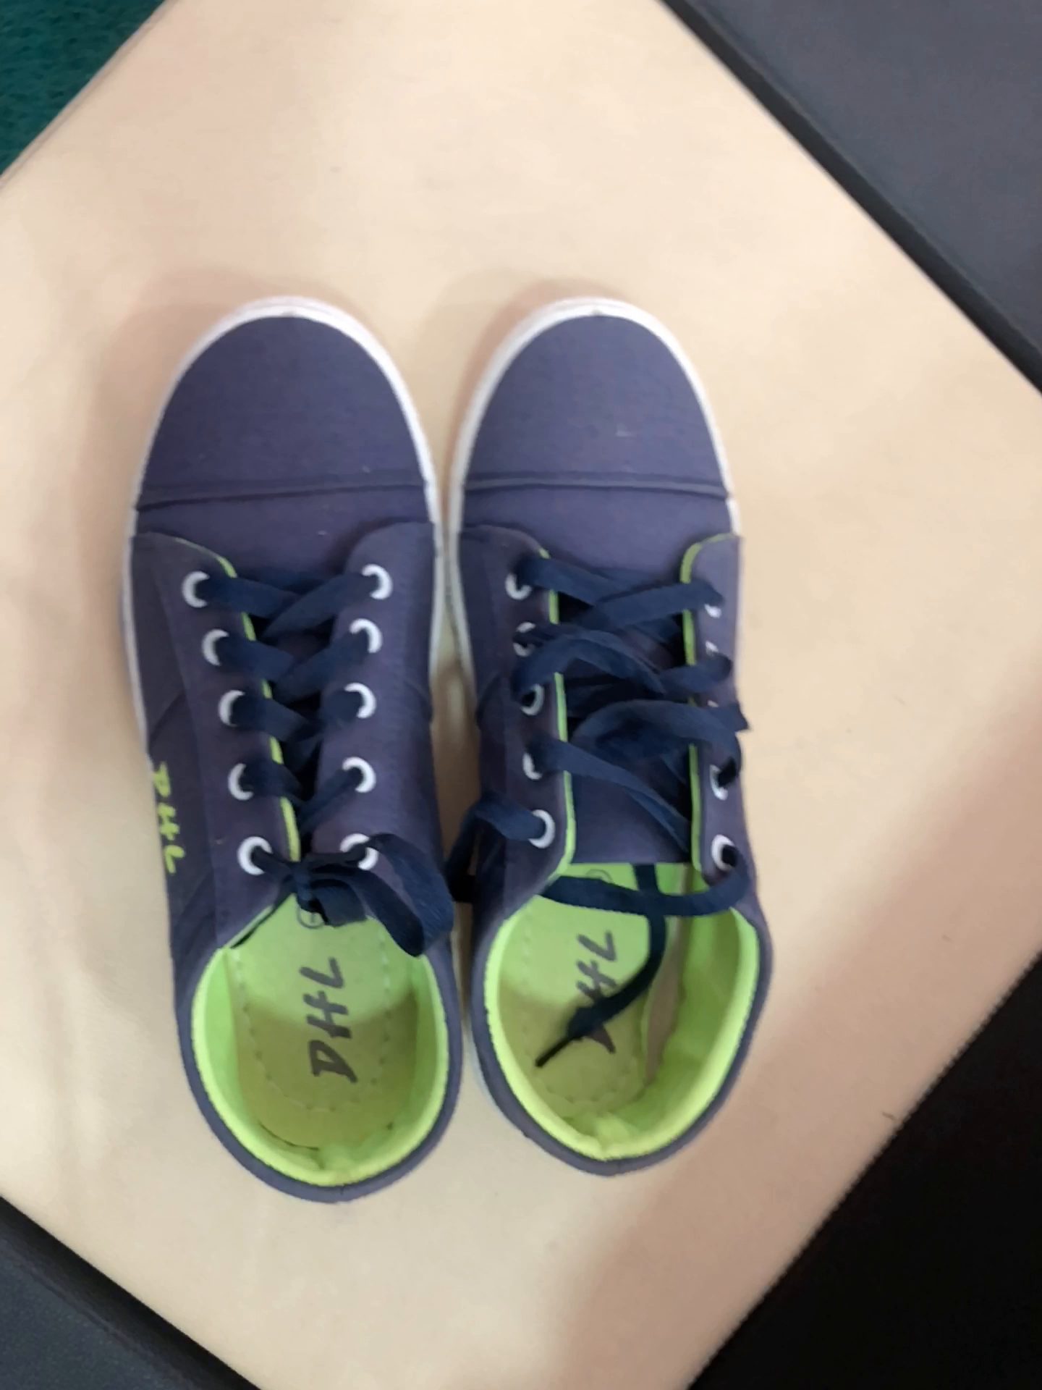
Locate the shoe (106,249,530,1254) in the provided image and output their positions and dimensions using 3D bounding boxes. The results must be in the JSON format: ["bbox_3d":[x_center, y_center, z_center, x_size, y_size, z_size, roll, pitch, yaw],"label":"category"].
[{"bbox_3d":[-0.058,0.013,0.353,0.090,0.090,0.260,-5,92,-9],"label":"shoe"}]

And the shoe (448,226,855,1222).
[{"bbox_3d":[0.036,0.006,0.363,0.090,0.080,0.270,-5,92,-9],"label":"shoe"}]
